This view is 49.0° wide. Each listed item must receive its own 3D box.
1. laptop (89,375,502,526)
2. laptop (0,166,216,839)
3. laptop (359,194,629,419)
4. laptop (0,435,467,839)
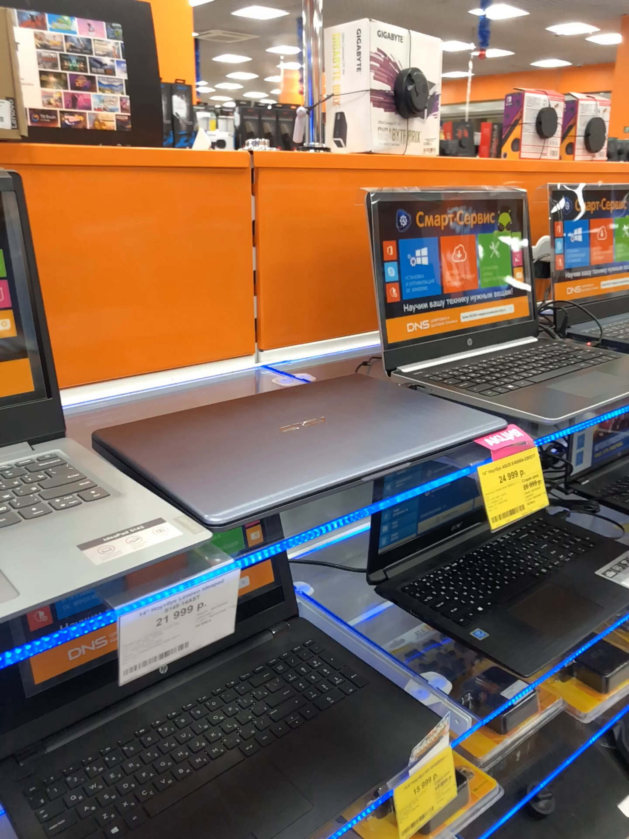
[{"bbox_3d":[-0.012,0.010,0.645,0.324,0.001,0.214,-14,25,-36],"label":"laptop"},{"bbox_3d":[-0.296,-0.028,0.409,0.354,0.225,0.289,-16,25,-39],"label":"laptop"},{"bbox_3d":[0.274,-0.164,0.855,0.336,0.205,0.272,-14,24,-39],"label":"laptop"},{"bbox_3d":[-0.105,0.208,0.672,0.377,0.227,0.313,-15,25,-37],"label":"laptop"}]
